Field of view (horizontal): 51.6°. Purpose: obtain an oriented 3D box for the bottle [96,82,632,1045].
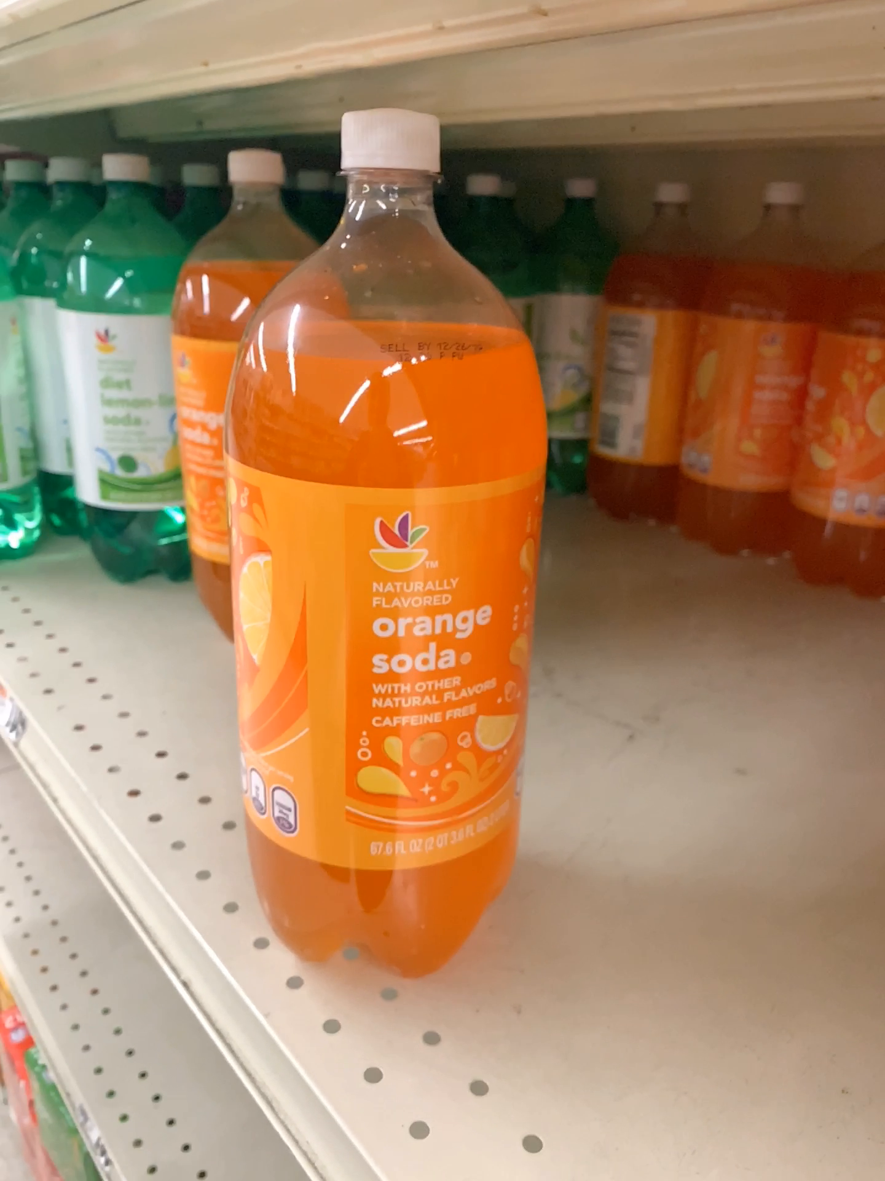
[{"bbox_3d":[-0.018,-0.008,0.324,0.120,0.289,0.110,1,23,0],"label":"bottle"}]
